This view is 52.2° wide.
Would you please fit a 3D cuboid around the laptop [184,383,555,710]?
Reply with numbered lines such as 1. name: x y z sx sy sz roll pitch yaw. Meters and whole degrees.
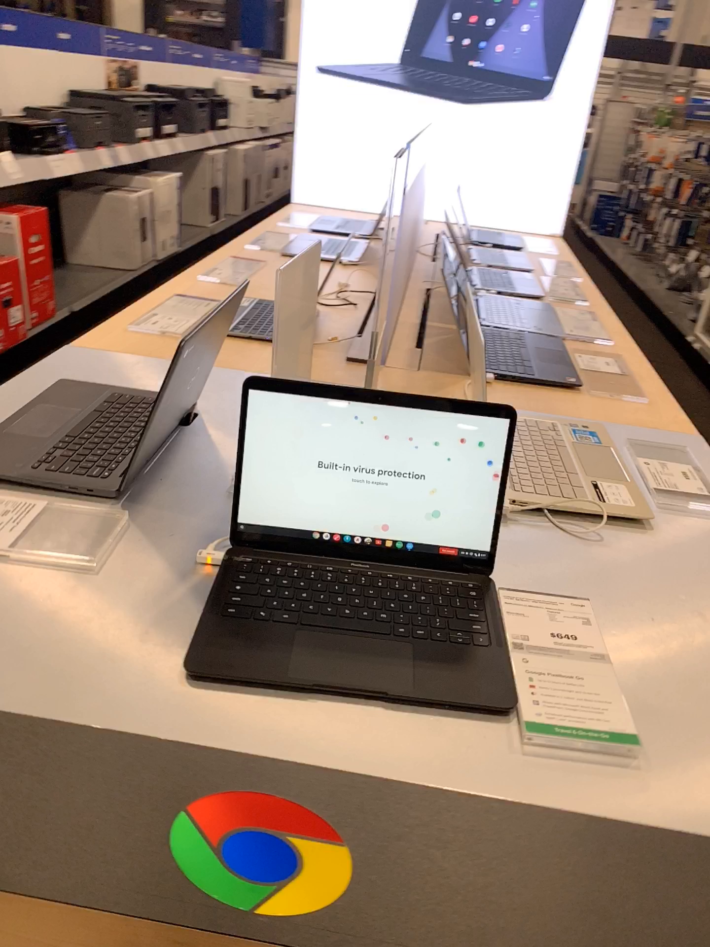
1. laptop: 0.009 0.057 0.724 0.294 0.180 0.254 6 28 0
